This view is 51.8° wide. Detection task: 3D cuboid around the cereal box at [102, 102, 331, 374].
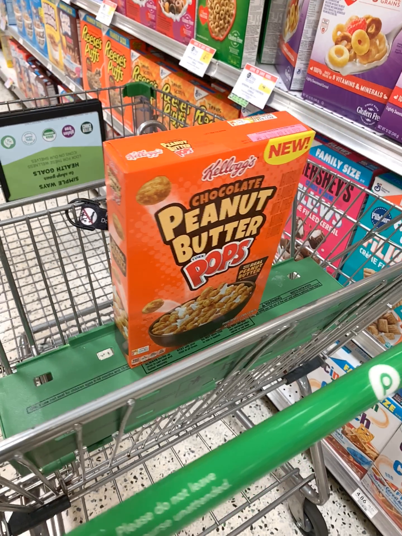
[{"bbox_3d":[0.005,-0.018,0.453,0.201,0.287,0.050,-19,52,-25],"label":"cereal box"}]
